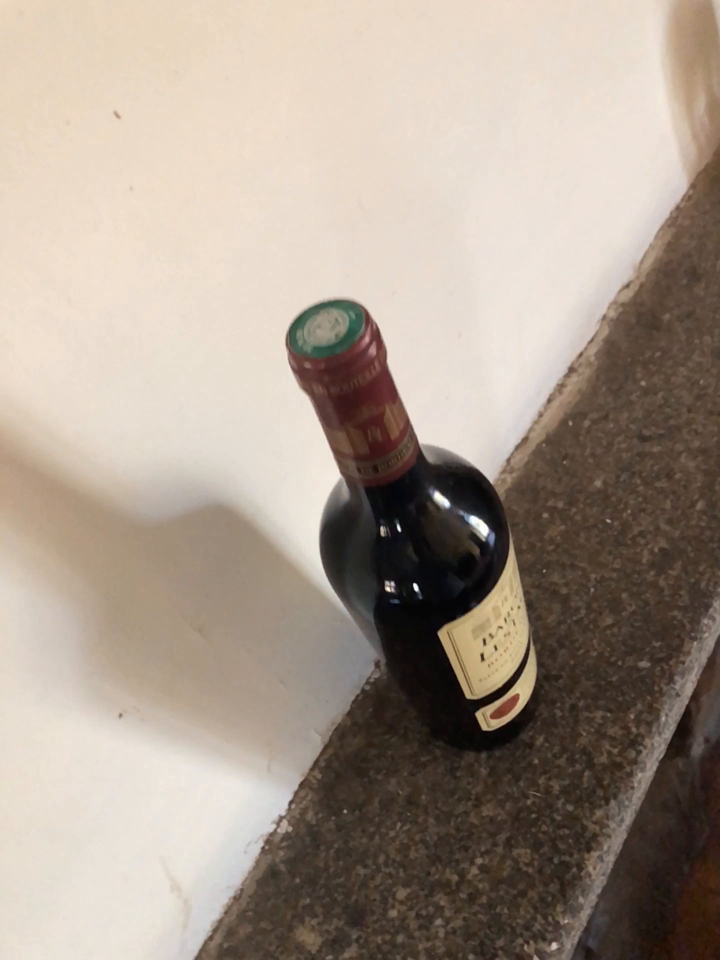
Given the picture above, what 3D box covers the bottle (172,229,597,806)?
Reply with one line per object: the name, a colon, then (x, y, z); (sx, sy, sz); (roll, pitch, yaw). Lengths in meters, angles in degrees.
bottle: (0.038, 0.043, 0.320); (0.070, 0.279, 0.080); (25, 68, 31)
